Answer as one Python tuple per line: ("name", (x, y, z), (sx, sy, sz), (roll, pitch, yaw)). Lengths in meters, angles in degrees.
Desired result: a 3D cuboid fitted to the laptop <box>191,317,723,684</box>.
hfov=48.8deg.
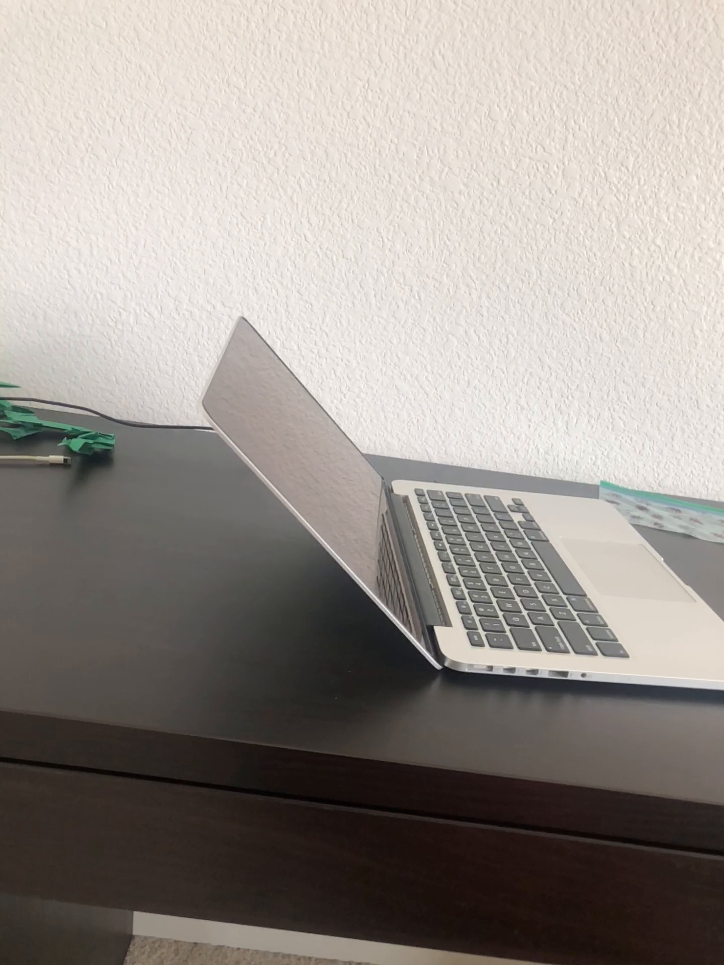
("laptop", (0.078, -0.011, 0.601), (0.362, 0.133, 0.310), (6, 20, -6))
